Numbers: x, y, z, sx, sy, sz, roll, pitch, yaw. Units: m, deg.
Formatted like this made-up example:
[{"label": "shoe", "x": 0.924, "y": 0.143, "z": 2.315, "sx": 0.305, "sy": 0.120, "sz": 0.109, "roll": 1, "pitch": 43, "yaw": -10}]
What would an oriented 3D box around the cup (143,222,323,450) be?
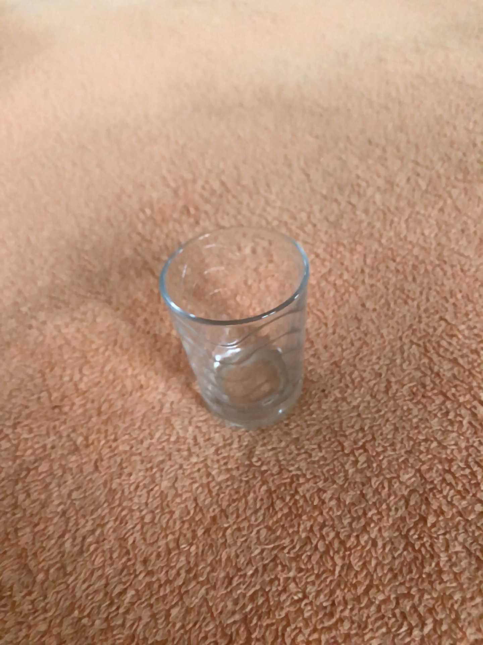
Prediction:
[{"label": "cup", "x": 0.003, "y": 0.006, "z": 0.254, "sx": 0.060, "sy": 0.080, "sz": 0.060, "roll": -4, "pitch": 45, "yaw": 4}]
